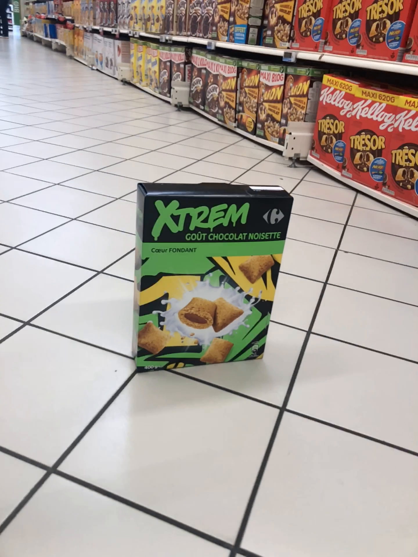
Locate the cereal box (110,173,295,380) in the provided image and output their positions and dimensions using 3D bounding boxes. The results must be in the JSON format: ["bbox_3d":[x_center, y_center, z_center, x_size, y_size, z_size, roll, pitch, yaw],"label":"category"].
[{"bbox_3d":[-0.021,-0.003,0.593,0.200,0.239,0.090,-2,27,-17],"label":"cereal box"}]
